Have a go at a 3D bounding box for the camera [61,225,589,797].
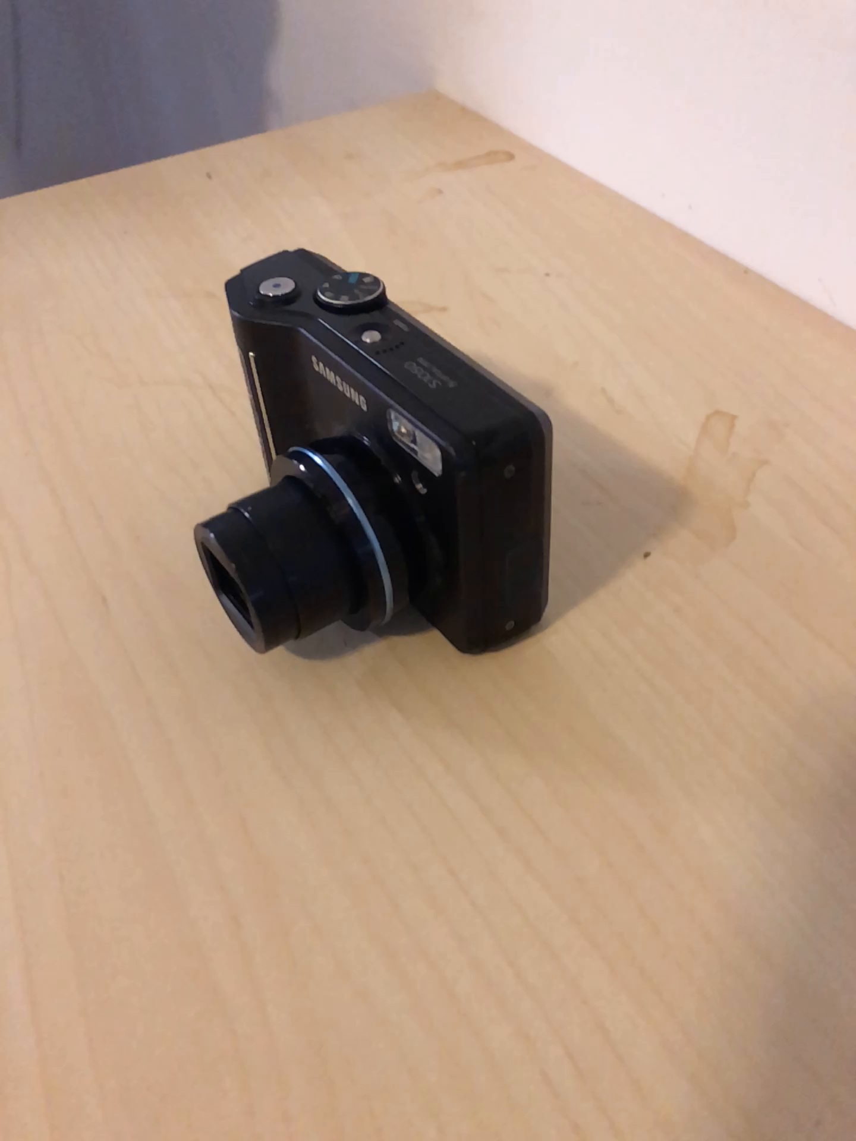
[{"bbox_3d":[-0.025,-0.021,0.230,0.070,0.070,0.111,-28,48,-20],"label":"camera"}]
